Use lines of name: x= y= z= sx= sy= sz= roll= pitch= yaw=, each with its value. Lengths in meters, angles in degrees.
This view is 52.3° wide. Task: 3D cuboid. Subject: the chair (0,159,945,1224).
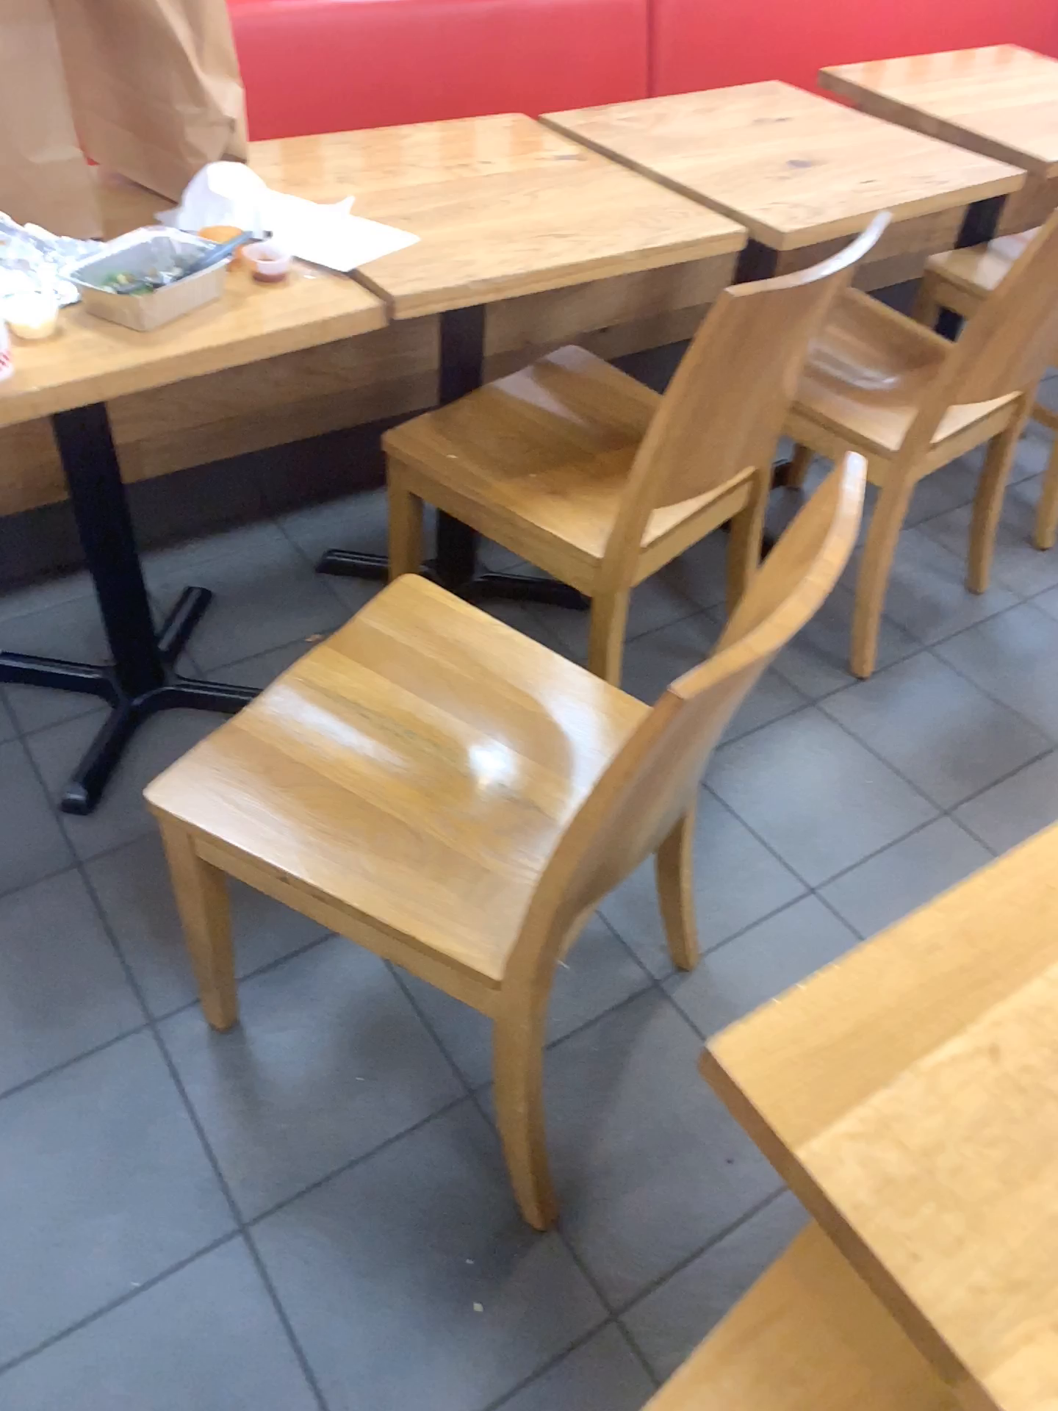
chair: x=-0.073 y=0.015 z=1.197 sx=0.611 sy=0.892 sz=0.513 roll=27 pitch=47 yaw=16
